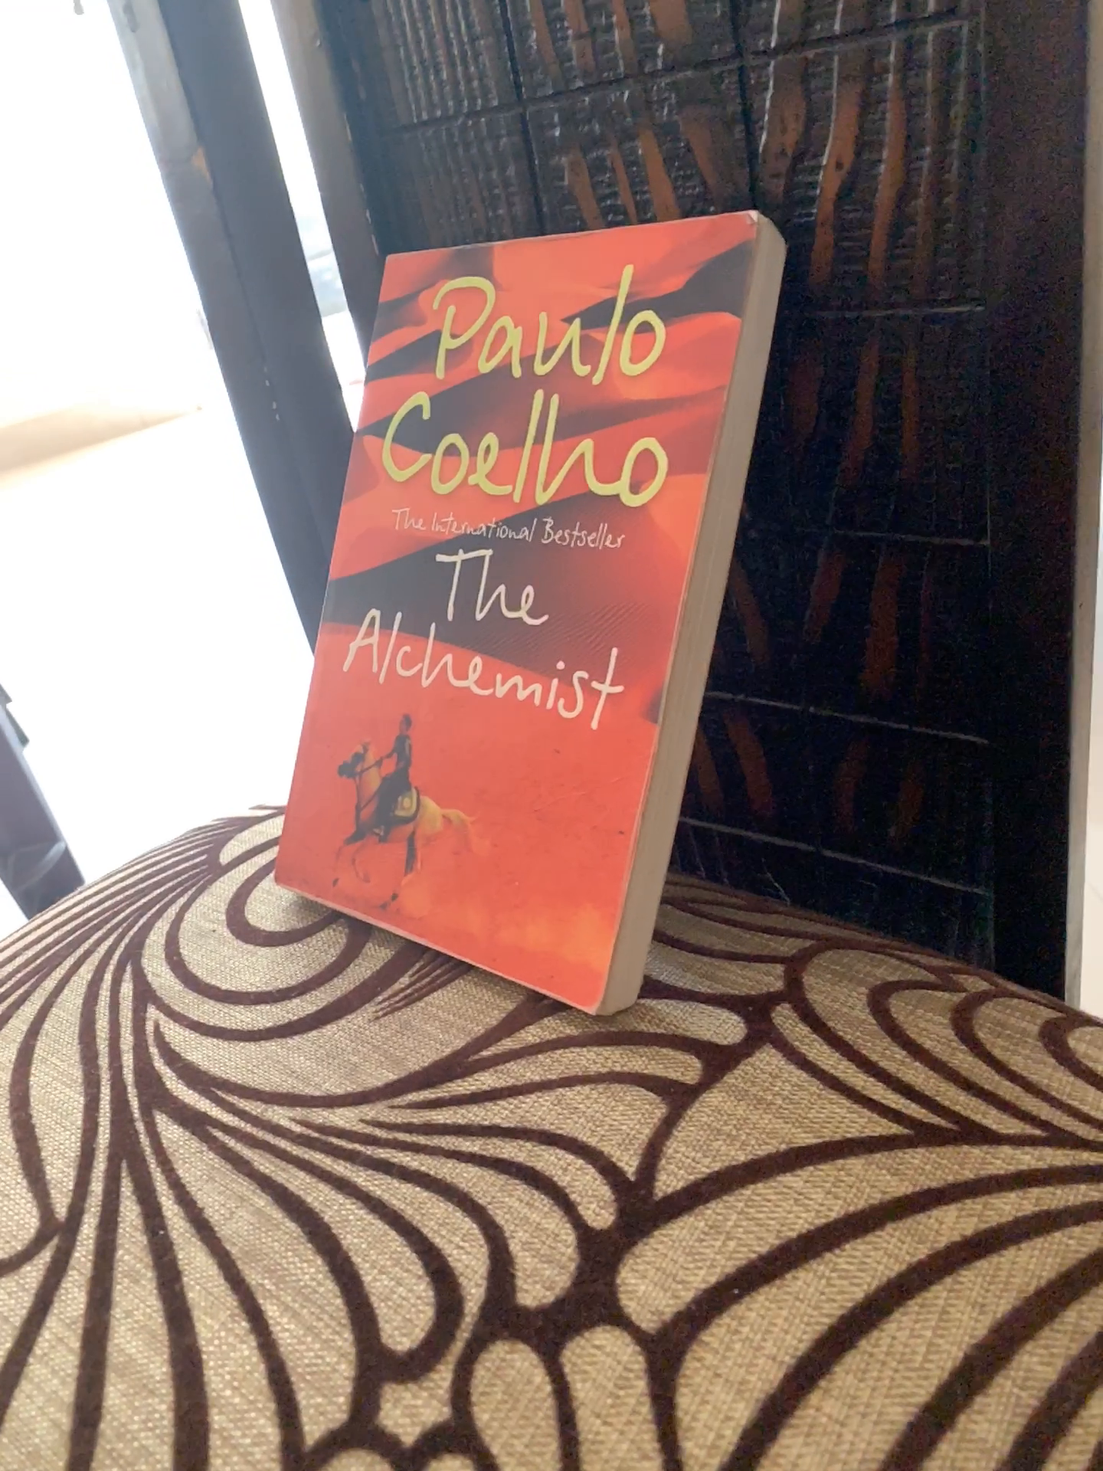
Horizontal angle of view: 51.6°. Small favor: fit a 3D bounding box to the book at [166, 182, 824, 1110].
[{"bbox_3d":[-0.020,-0.029,0.291,0.140,0.200,0.030,9,-5,34],"label":"book"}]
